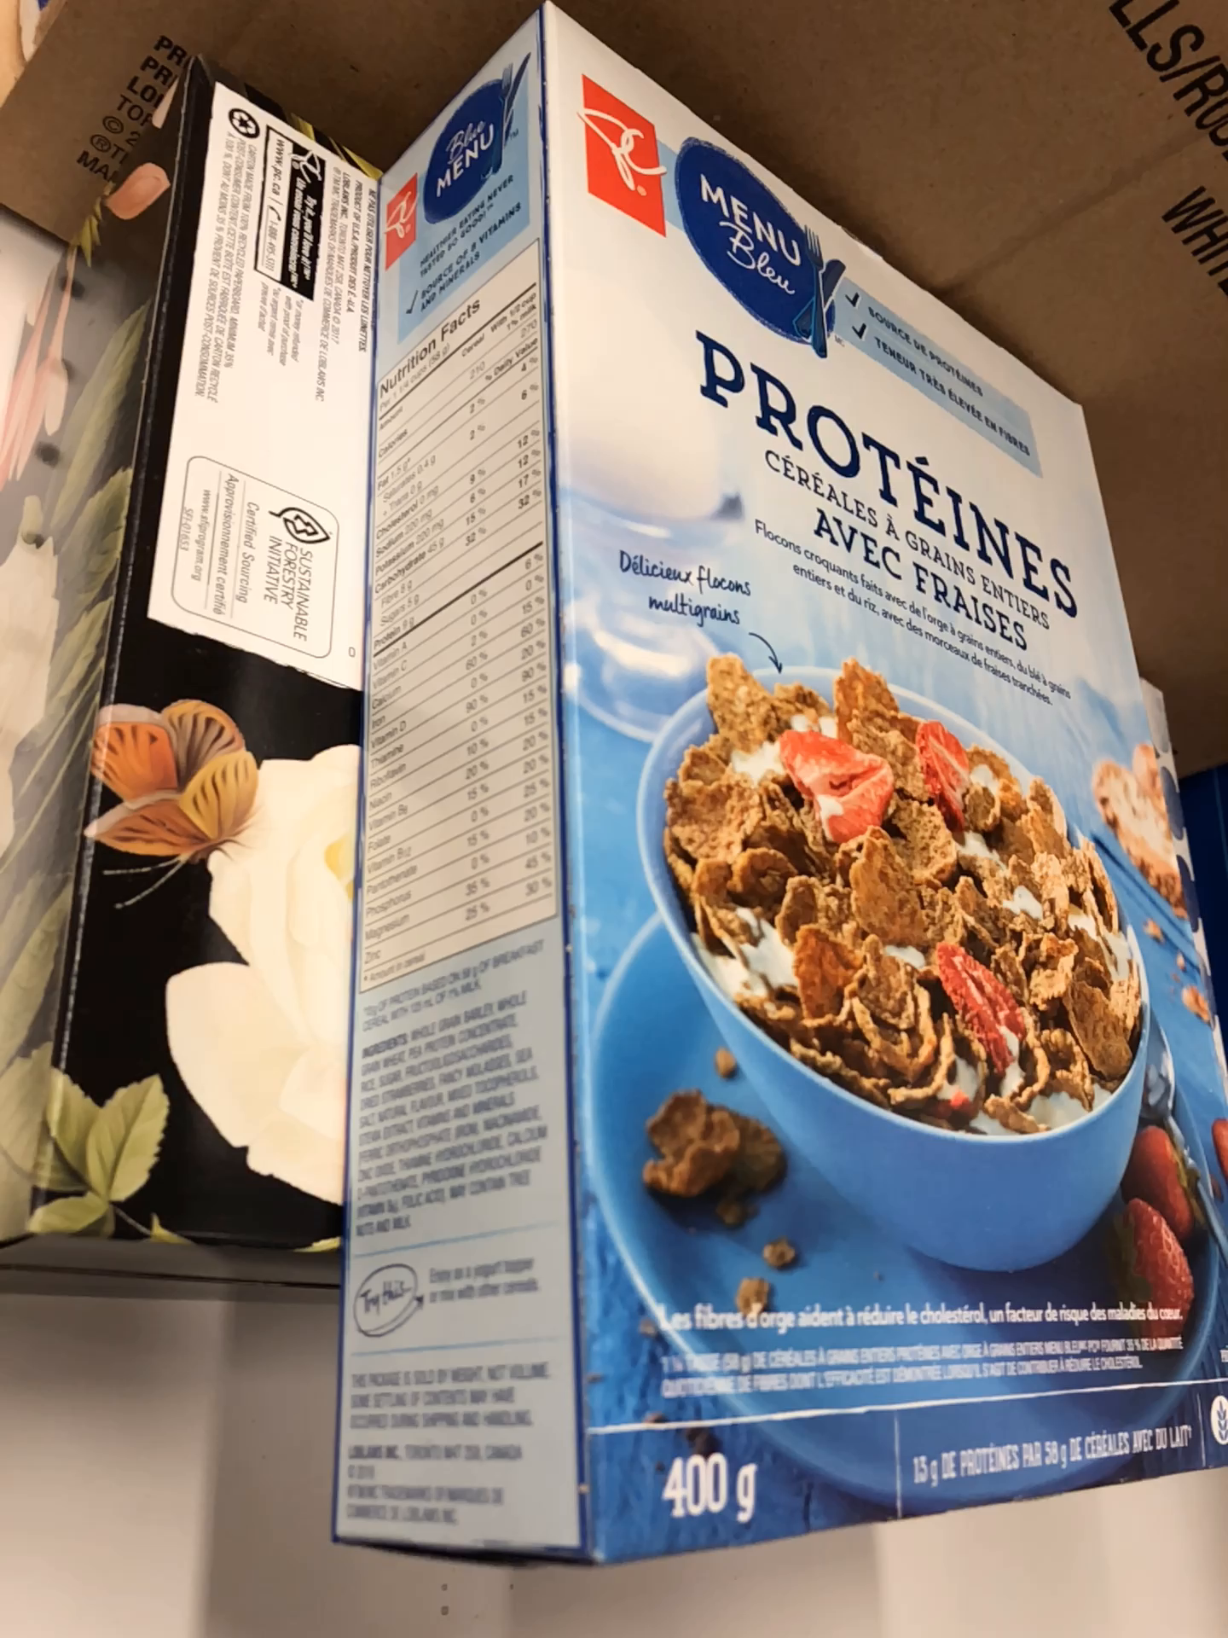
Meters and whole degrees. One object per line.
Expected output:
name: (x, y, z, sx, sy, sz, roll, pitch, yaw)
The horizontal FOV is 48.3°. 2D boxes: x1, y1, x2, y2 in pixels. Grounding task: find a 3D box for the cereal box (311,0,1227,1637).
cereal box: (0.047, -0.001, 0.249, 0.191, 0.050, 0.250, 15, 61, -38)
